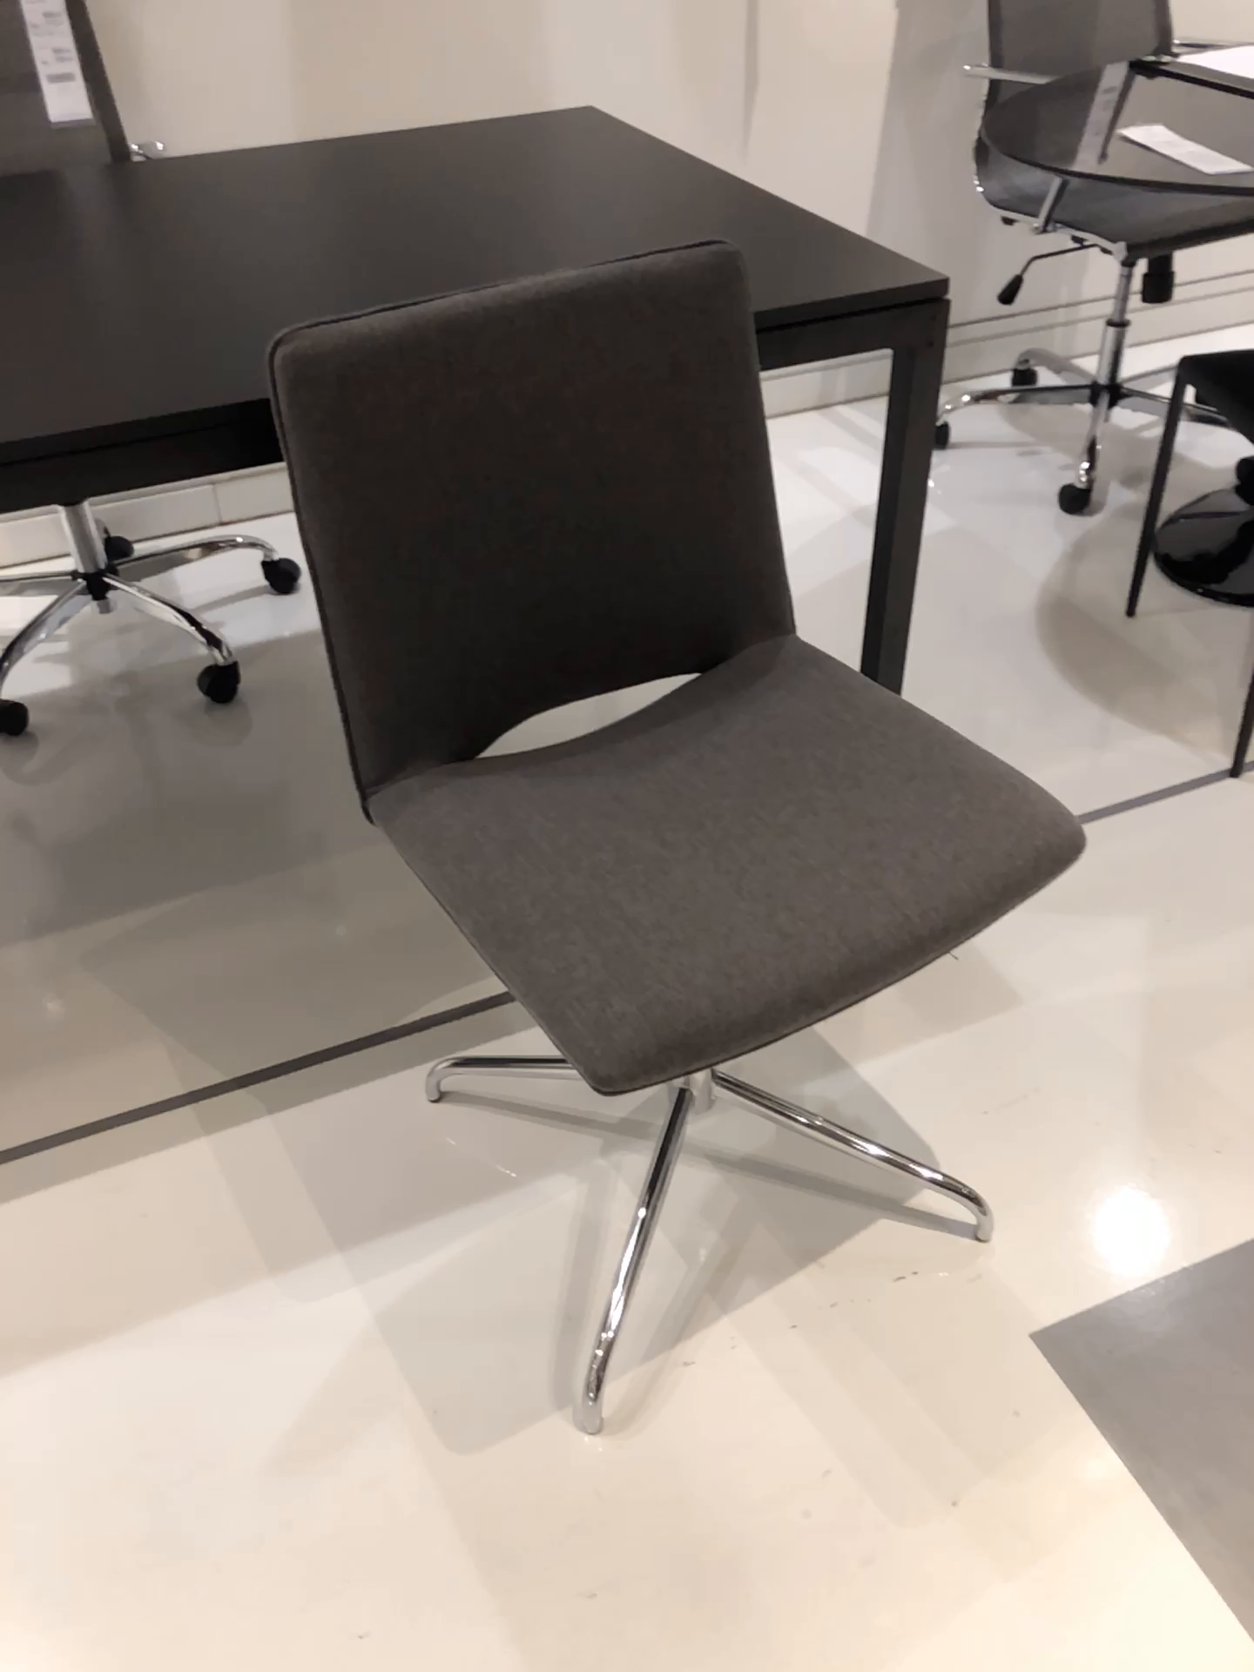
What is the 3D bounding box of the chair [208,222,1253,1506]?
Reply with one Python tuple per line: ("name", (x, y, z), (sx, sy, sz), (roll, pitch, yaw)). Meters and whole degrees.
("chair", (0.061, 0.011, 1.200), (0.521, 0.844, 0.533), (-21, 42, -23))
